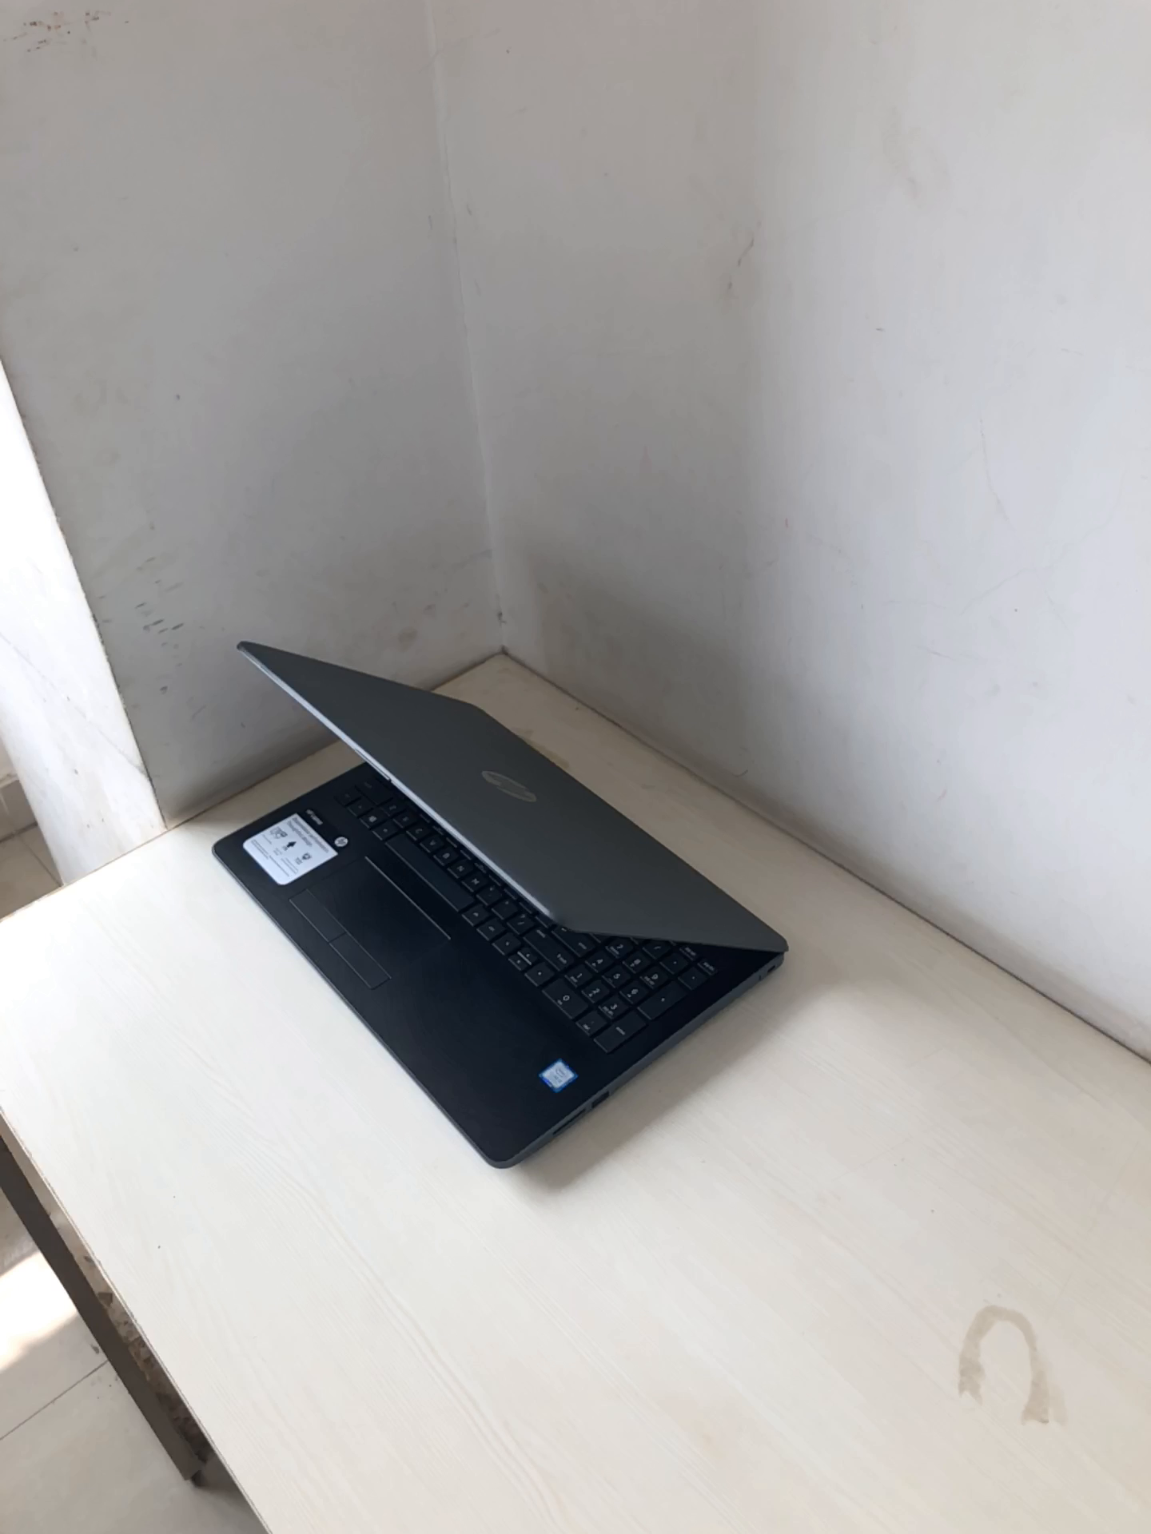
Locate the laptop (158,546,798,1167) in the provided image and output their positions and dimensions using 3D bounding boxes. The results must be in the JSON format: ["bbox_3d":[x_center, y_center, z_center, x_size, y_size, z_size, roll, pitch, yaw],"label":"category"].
[{"bbox_3d":[-0.069,0.032,0.855,0.245,0.157,0.357,-29,47,-29],"label":"laptop"}]
